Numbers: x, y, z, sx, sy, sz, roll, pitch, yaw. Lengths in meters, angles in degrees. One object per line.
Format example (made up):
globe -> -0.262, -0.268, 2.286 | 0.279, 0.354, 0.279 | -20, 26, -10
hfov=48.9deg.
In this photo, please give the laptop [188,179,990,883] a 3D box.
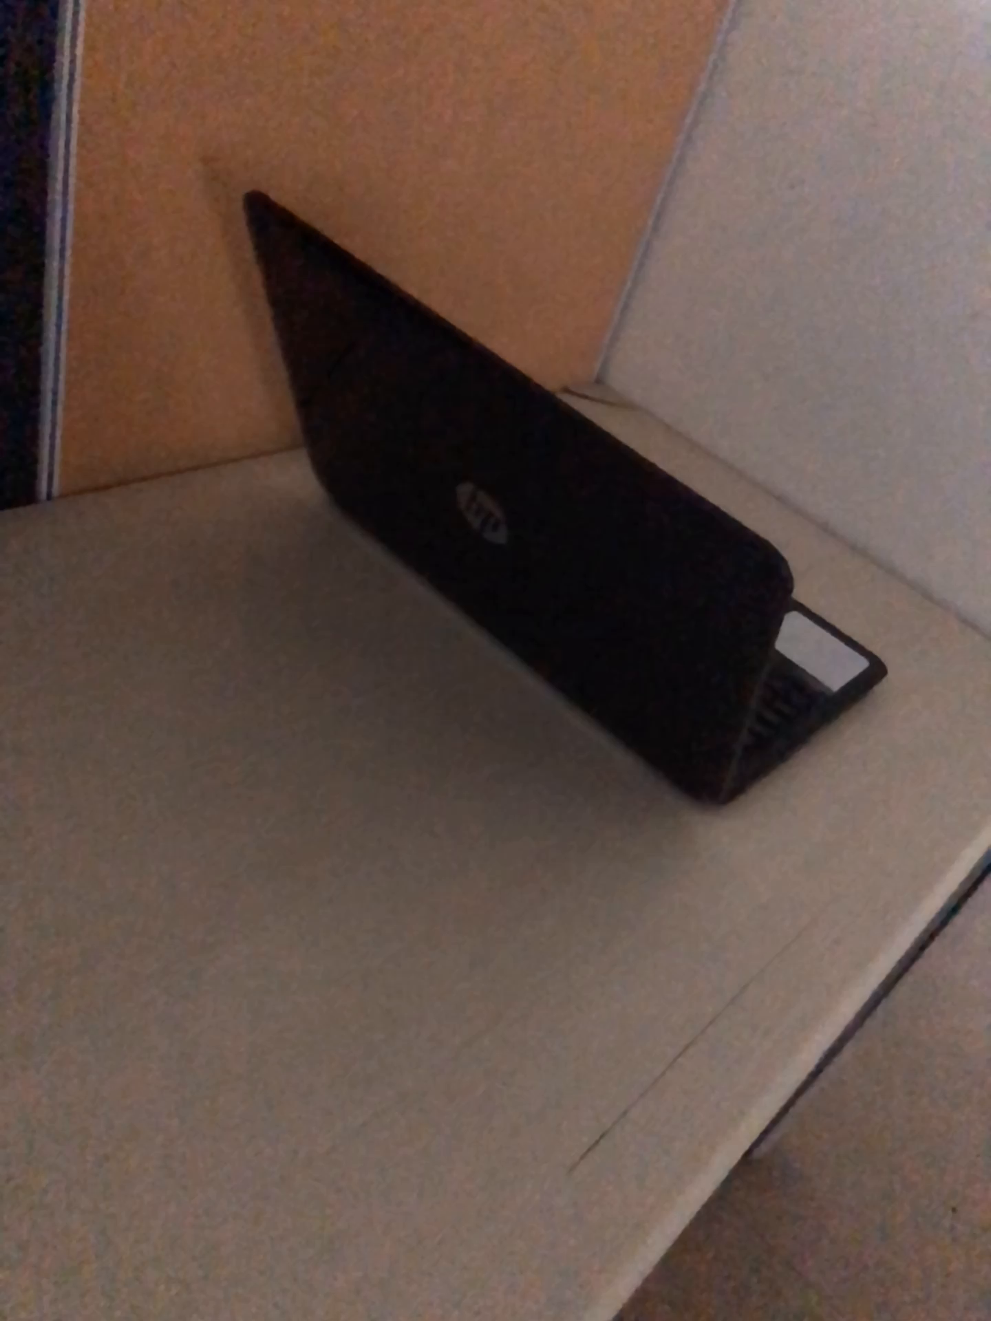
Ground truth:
laptop -> 0.070, -0.126, 0.697 | 0.356, 0.205, 0.353 | 39, 41, 23
